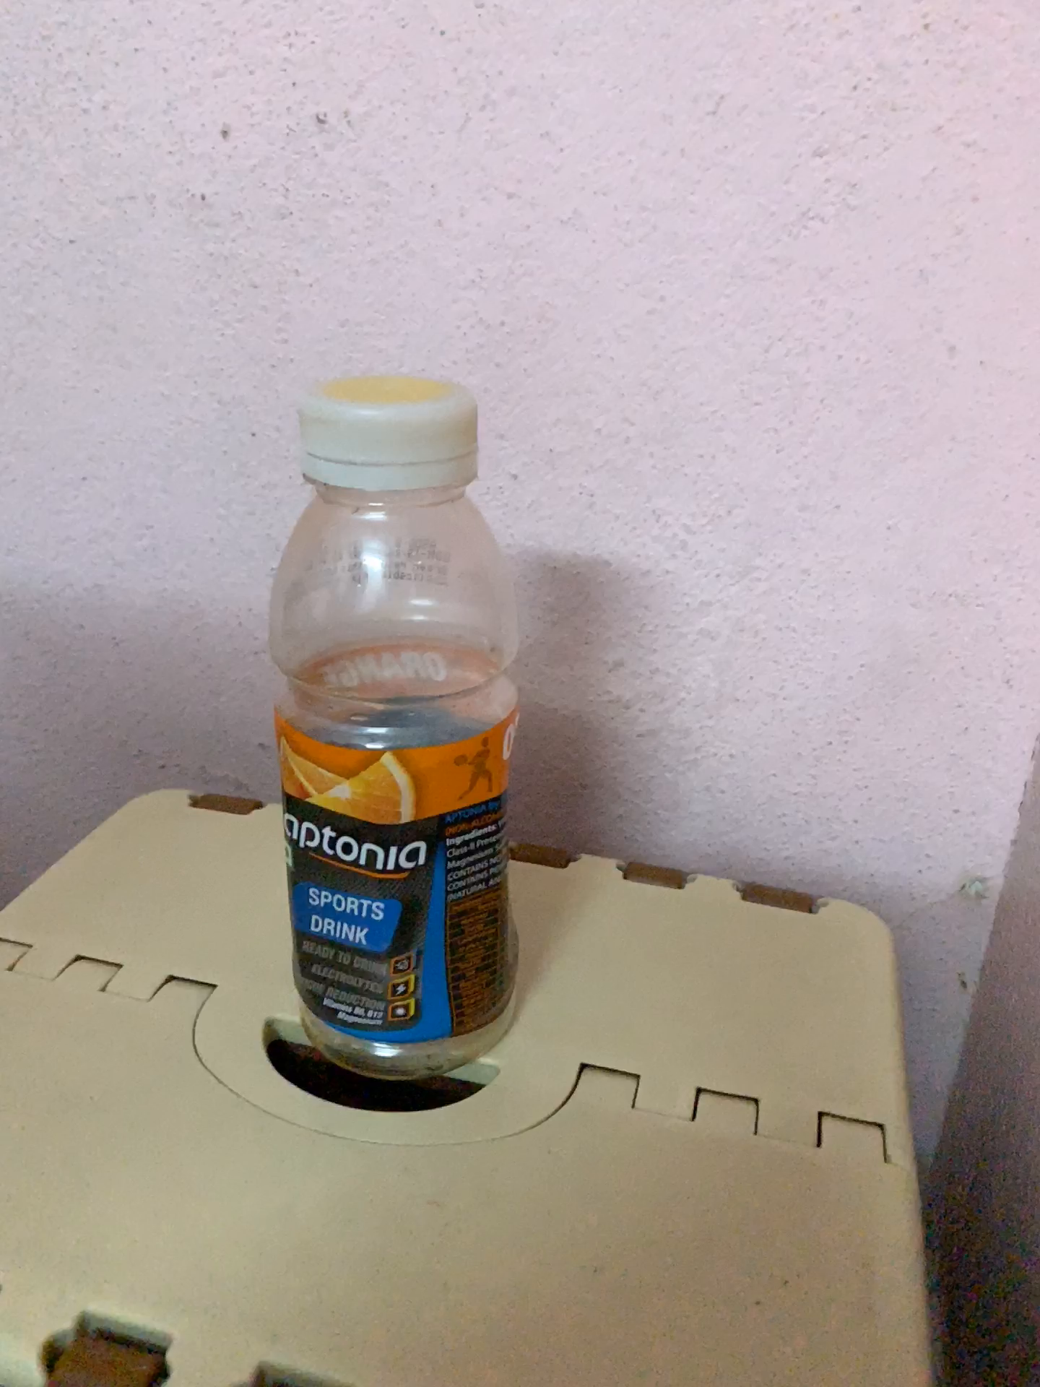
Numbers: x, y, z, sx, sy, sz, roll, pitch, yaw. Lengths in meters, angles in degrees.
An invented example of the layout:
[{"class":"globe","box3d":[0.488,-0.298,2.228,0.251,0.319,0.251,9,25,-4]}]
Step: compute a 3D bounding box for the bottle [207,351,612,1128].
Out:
[{"class":"bottle","box3d":[-0.024,0.012,0.273,0.070,0.179,0.060,9,26,16]}]
